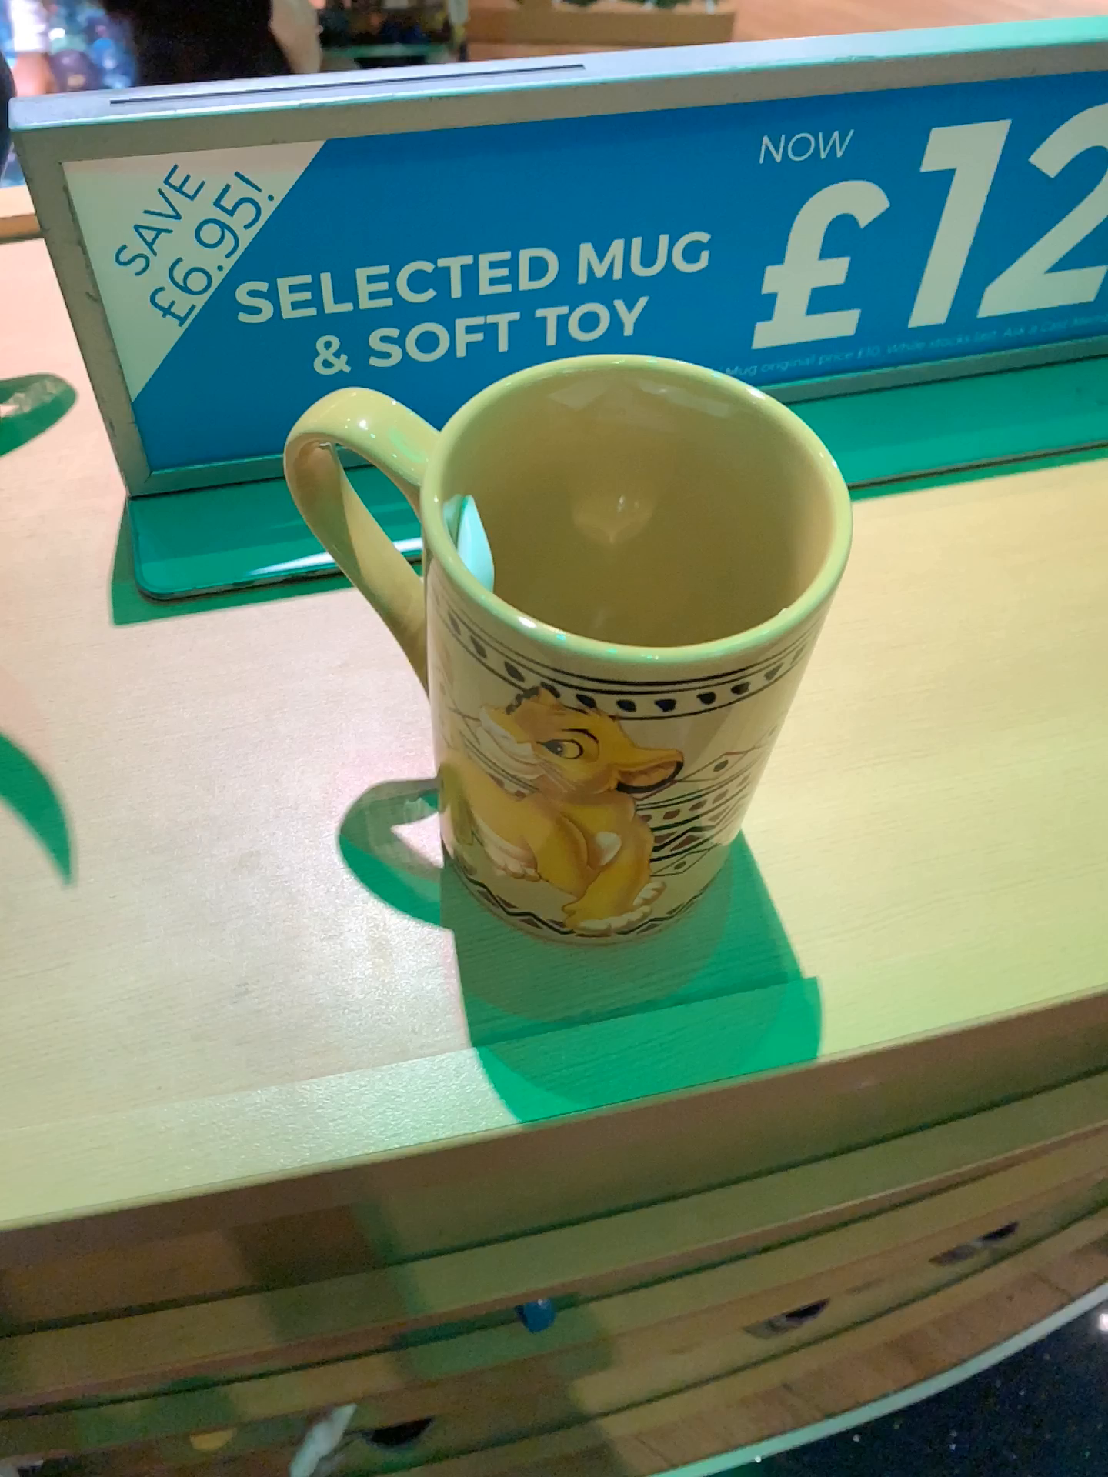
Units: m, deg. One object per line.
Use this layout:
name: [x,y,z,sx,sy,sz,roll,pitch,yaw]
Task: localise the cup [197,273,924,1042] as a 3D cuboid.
cup: [0.002,-0.018,0.279,0.119,0.121,0.101,21,53,11]
